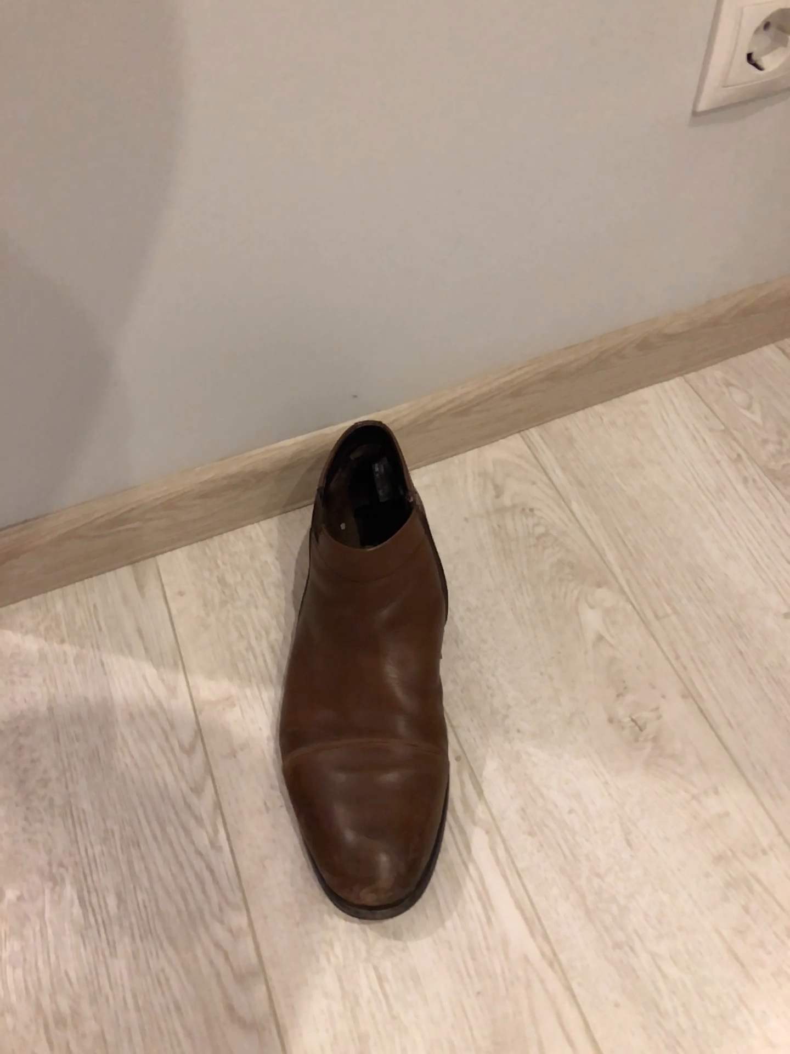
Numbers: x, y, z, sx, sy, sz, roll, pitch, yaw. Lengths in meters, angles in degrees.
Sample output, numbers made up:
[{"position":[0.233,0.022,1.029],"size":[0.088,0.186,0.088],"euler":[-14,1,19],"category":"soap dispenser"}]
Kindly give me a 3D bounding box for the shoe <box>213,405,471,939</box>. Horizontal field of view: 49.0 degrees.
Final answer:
[{"position":[-0.020,0.075,0.539],"size":[0.120,0.109,0.312],"euler":[-1,53,2],"category":"shoe"}]
